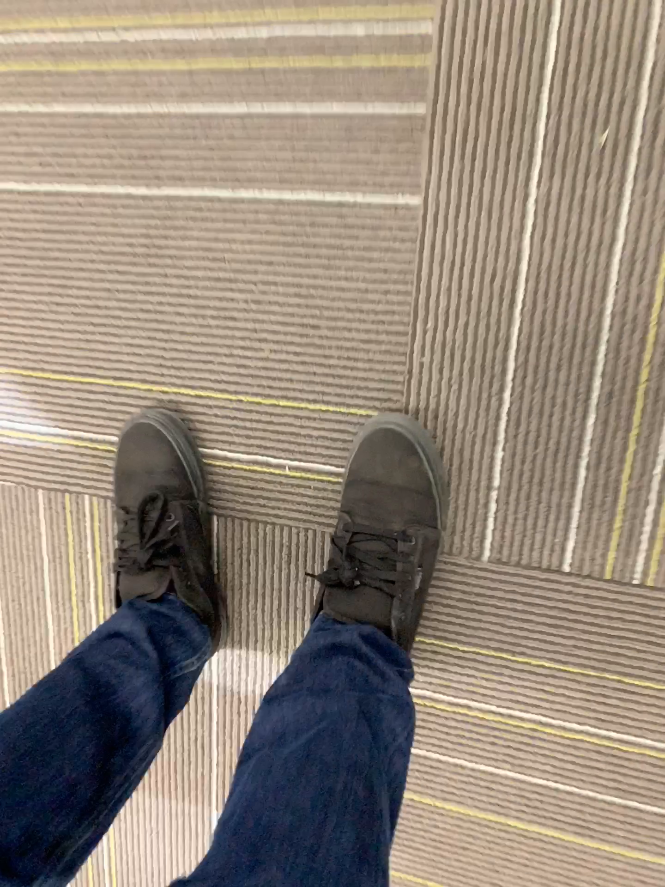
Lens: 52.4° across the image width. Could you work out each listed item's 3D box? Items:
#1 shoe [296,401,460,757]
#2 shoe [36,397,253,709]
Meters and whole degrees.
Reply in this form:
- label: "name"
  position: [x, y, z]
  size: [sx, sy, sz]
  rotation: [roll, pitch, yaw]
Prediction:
- label: "shoe"
  position: [0.042, 0.120, 0.632]
  size: [0.109, 0.113, 0.292]
  rotation: [8, 106, 14]
- label: "shoe"
  position: [-0.184, 0.112, 0.699]
  size: [0.109, 0.113, 0.291]
  rotation: [-7, 102, 18]
